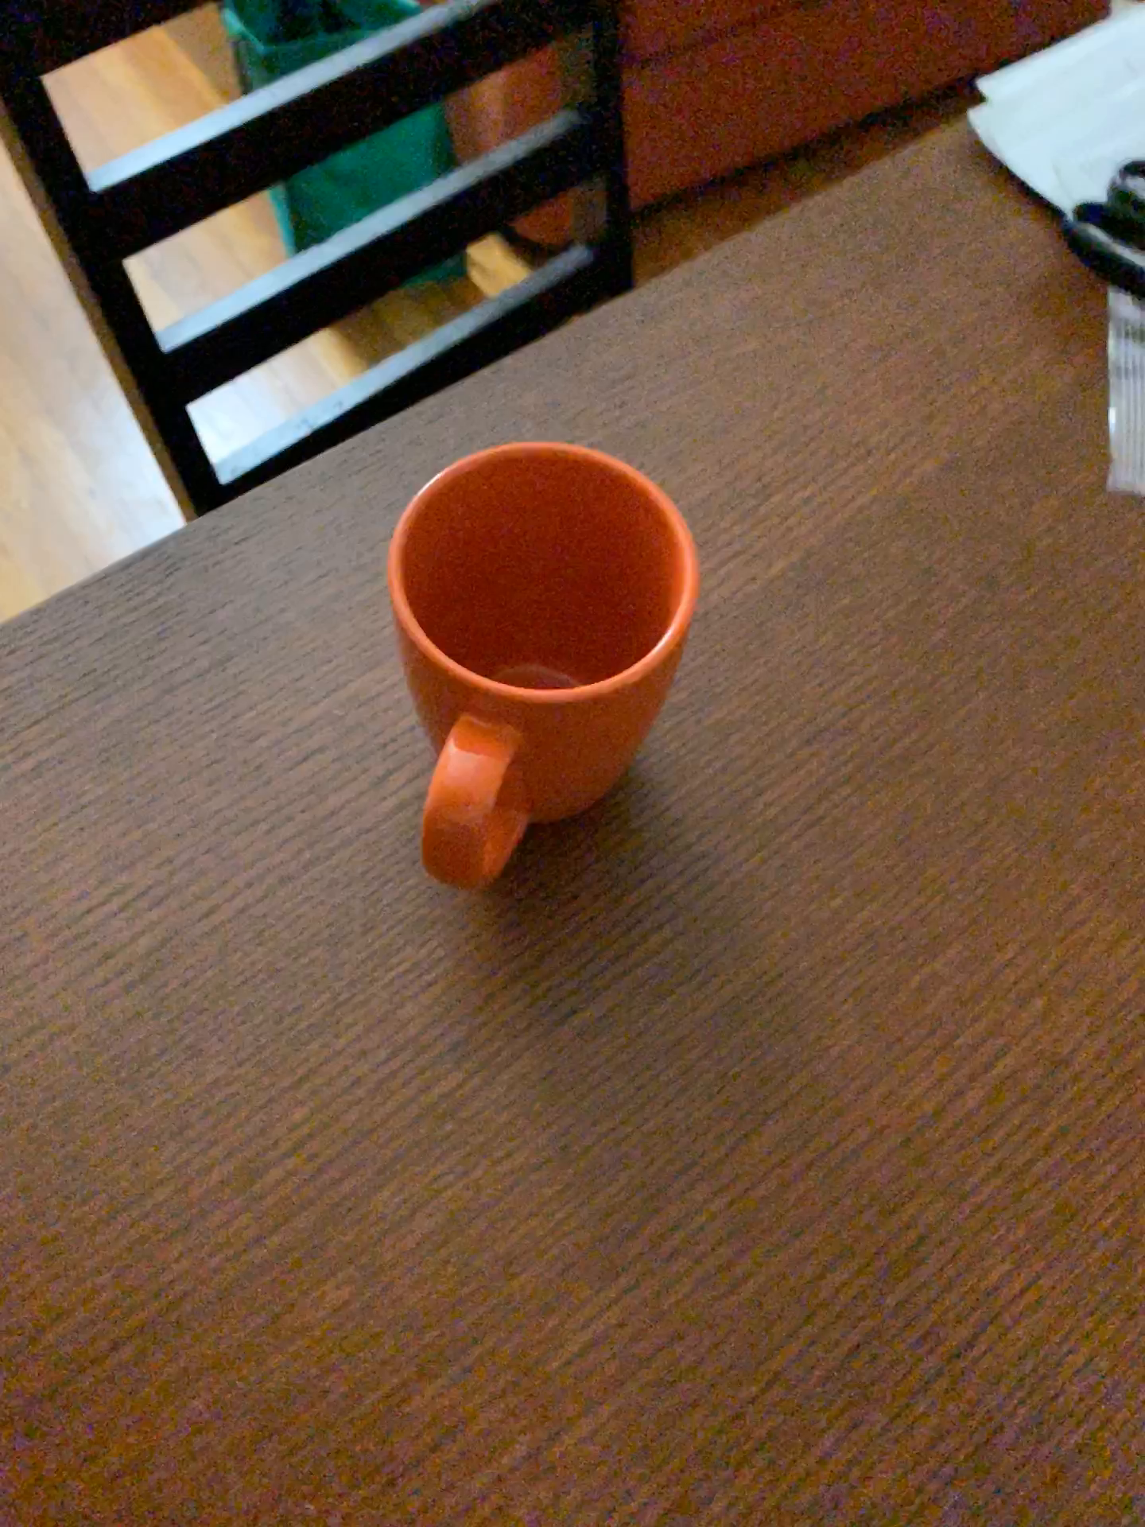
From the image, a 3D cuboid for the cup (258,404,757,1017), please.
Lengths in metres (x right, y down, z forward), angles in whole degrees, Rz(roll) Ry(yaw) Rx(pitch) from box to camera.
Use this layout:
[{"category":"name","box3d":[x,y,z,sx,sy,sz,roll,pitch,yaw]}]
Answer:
[{"category":"cup","box3d":[-0.015,-0.011,0.359,0.100,0.110,0.130,14,64,3]}]
